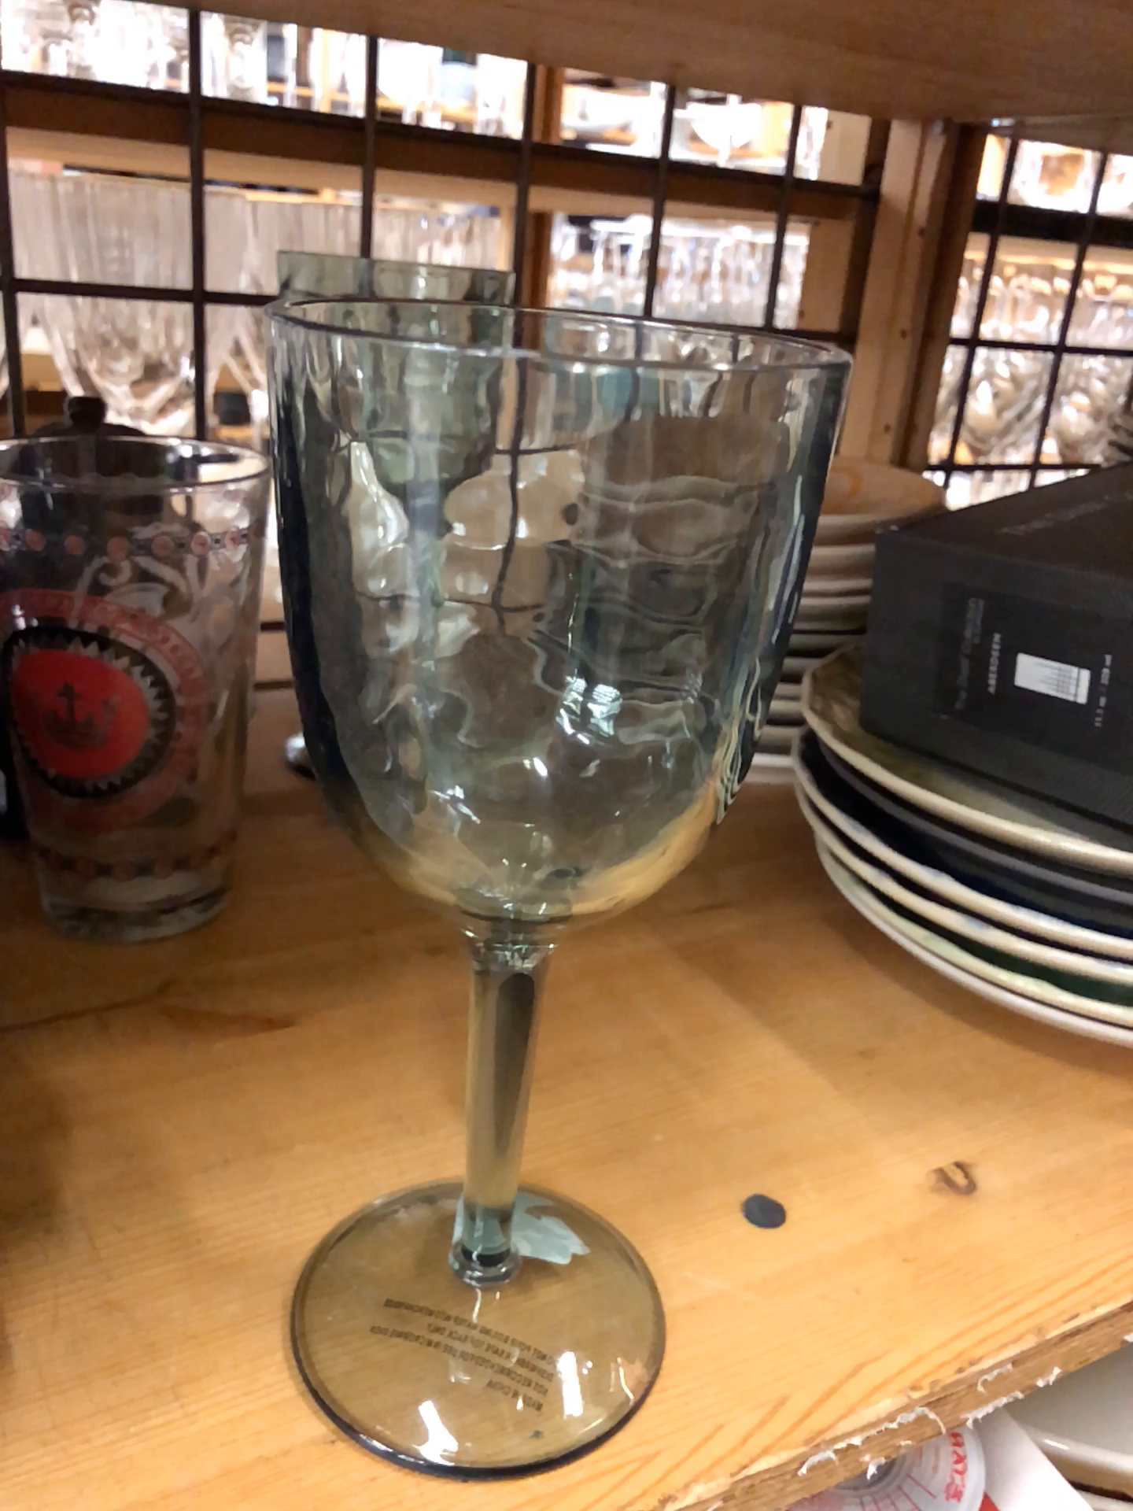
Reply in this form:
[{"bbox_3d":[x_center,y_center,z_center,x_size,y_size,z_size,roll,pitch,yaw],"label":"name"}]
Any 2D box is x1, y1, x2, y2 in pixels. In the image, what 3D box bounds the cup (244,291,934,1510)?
[{"bbox_3d":[-0.013,0.024,0.246,0.091,0.204,0.095,5,22,-2],"label":"cup"}]
